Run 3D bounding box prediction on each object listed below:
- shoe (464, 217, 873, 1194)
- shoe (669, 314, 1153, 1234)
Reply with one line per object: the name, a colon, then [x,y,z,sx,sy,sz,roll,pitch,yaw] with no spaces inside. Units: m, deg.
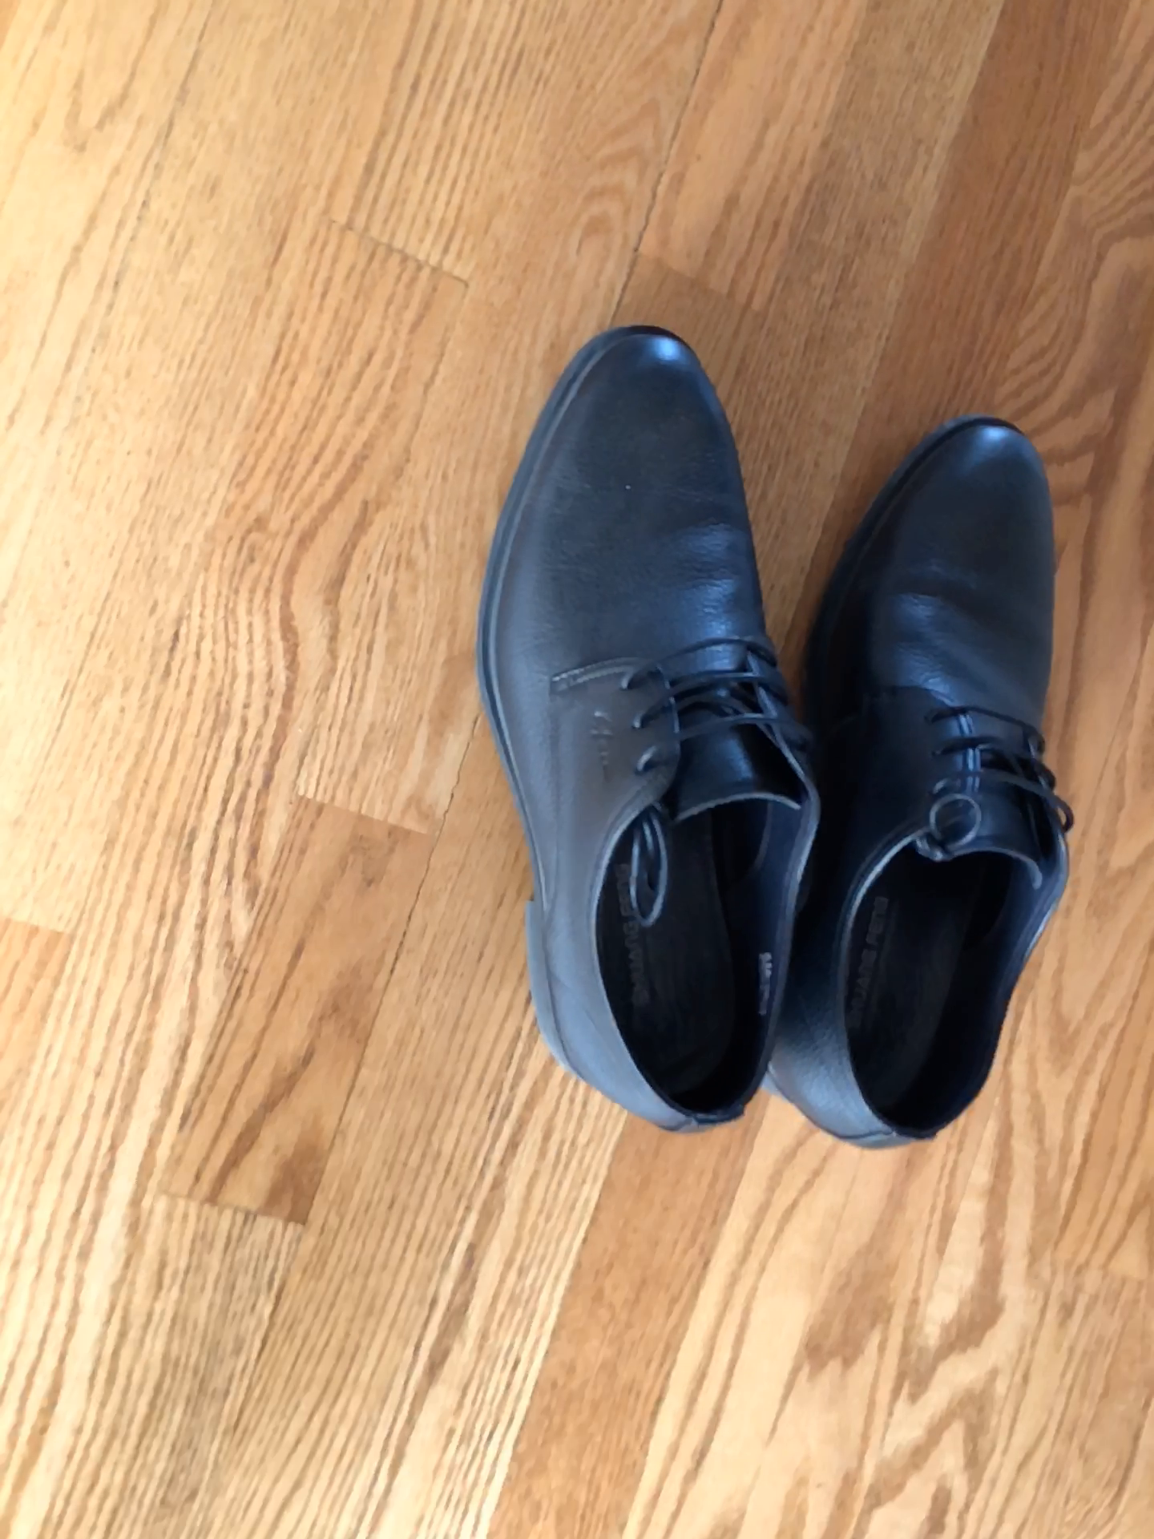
shoe: [0.026,-0.020,0.469,0.110,0.124,0.304,0,93,-17]
shoe: [0.150,0.002,0.495,0.110,0.124,0.299,18,88,-17]
